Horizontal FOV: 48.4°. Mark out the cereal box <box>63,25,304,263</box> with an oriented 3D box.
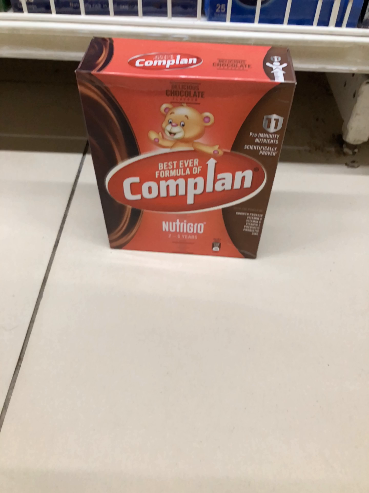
[{"bbox_3d":[-0.001,-0.066,0.323,0.140,0.179,0.050,4,50,2],"label":"cereal box"}]
